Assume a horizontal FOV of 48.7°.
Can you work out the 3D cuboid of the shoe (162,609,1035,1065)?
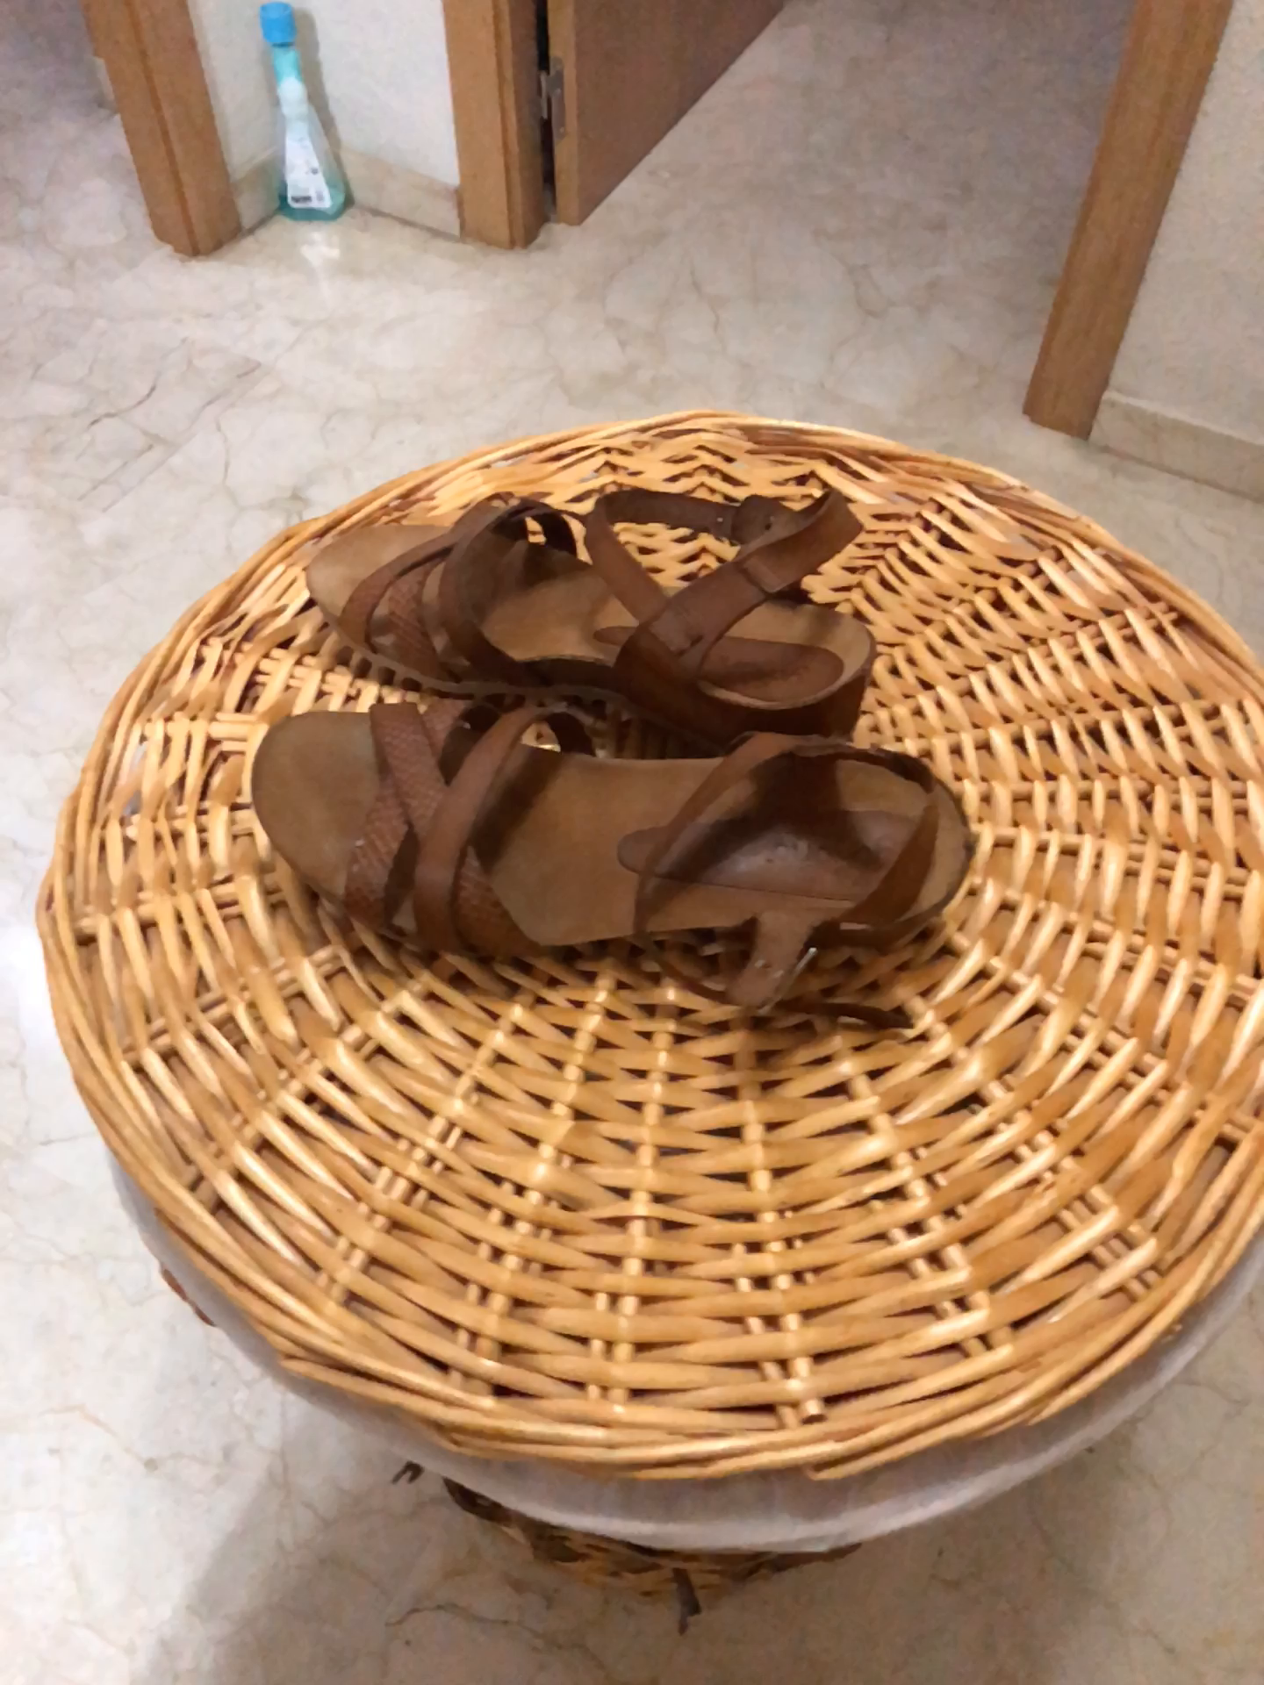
[{"bbox_3d":[-0.008,-0.006,0.497,0.280,0.060,0.100,10,54,7],"label":"shoe"}]

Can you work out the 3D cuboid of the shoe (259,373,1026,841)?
[{"bbox_3d":[-0.001,-0.103,0.554,0.280,0.070,0.100,21,56,25],"label":"shoe"}]
